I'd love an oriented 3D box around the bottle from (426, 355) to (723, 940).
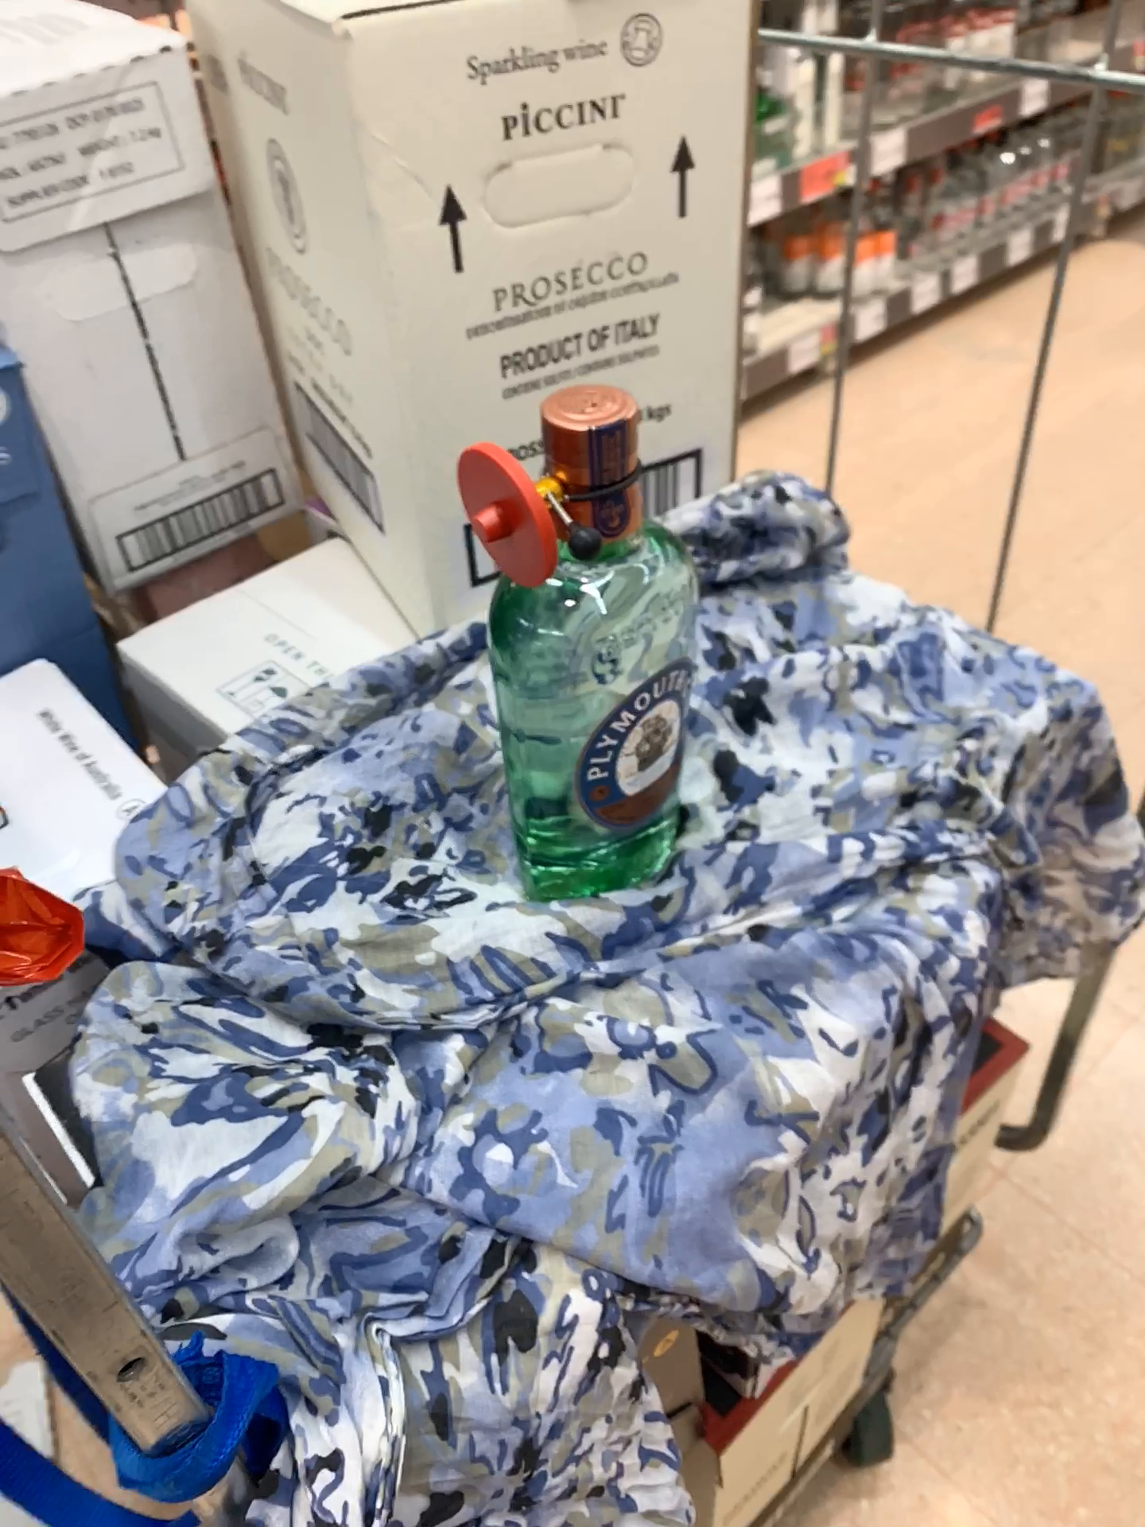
[{"bbox_3d":[0.008,-0.041,0.506,0.094,0.228,0.058,-33,48,-29],"label":"bottle"}]
